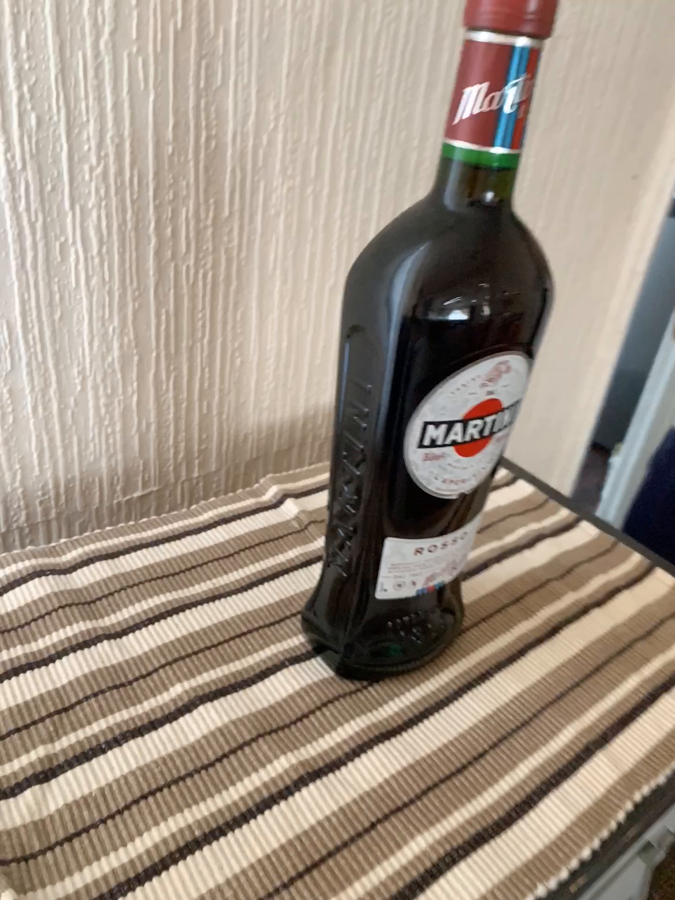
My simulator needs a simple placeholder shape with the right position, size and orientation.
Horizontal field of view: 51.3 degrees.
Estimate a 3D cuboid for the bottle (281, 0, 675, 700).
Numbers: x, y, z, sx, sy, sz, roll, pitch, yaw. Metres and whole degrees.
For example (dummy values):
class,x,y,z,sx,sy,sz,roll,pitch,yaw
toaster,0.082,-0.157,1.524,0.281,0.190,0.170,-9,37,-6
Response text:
class,x,y,z,sx,sy,sz,roll,pitch,yaw
bottle,0.043,-0.036,0.297,0.090,0.297,0.060,-14,36,-33
